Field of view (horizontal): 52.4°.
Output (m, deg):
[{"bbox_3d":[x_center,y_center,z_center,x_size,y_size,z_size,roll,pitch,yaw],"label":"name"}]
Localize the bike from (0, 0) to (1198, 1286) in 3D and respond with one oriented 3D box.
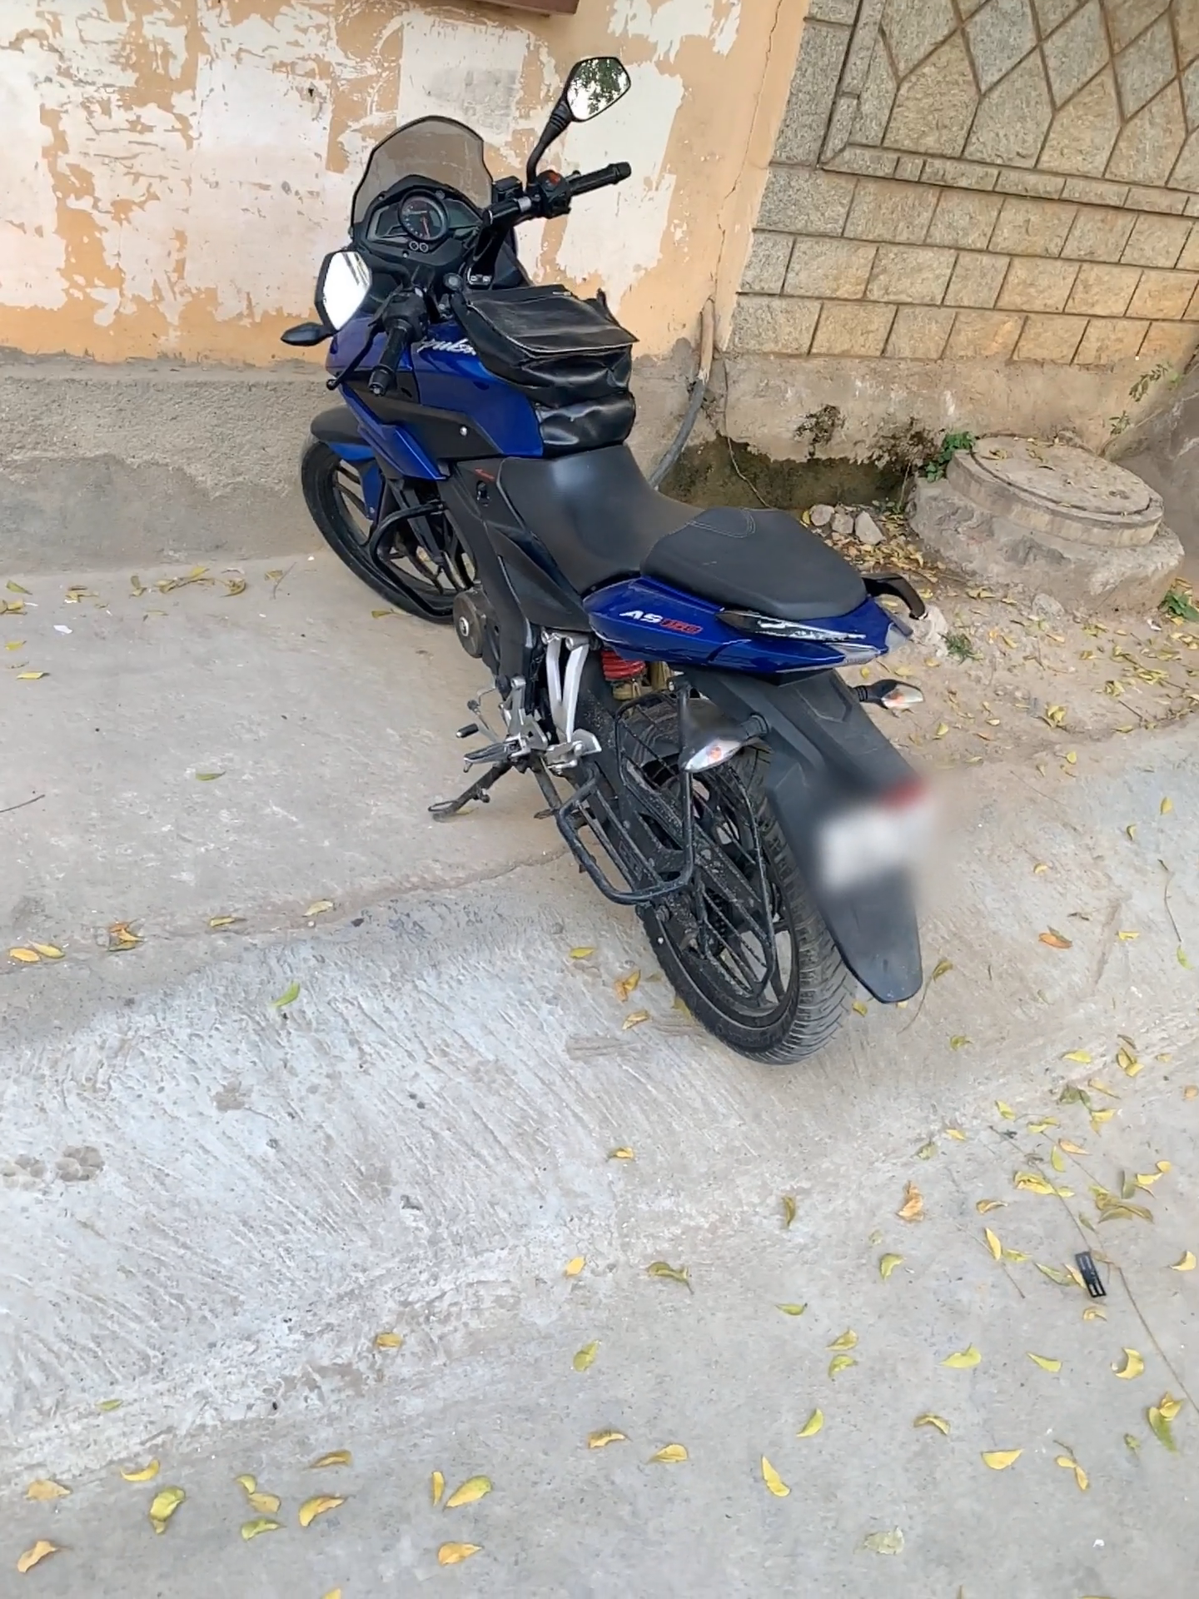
[{"bbox_3d":[-0.242,-0.431,1.945,0.955,1.218,1.570,-18,53,-36],"label":"bike"}]
